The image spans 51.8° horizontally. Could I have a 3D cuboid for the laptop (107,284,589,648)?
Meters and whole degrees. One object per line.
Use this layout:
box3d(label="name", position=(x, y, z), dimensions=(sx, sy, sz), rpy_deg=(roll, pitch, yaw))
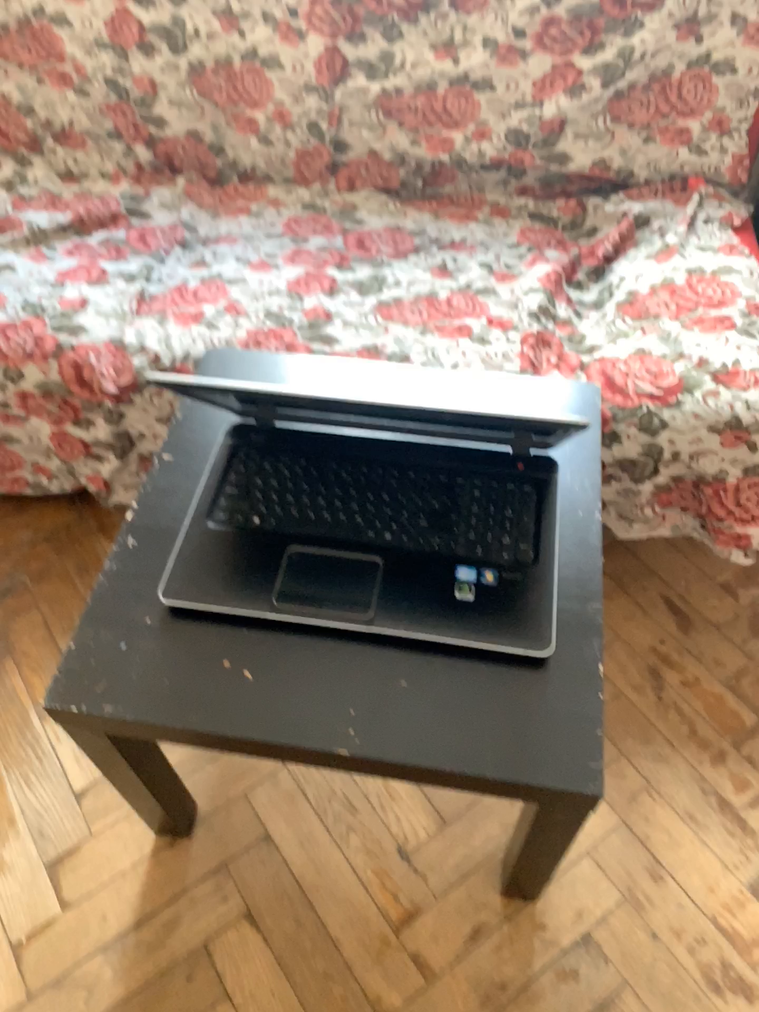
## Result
box3d(label="laptop", position=(-0.011, -0.046, 0.802), dimensions=(0.404, 0.201, 0.258), rpy_deg=(7, 52, 7))
